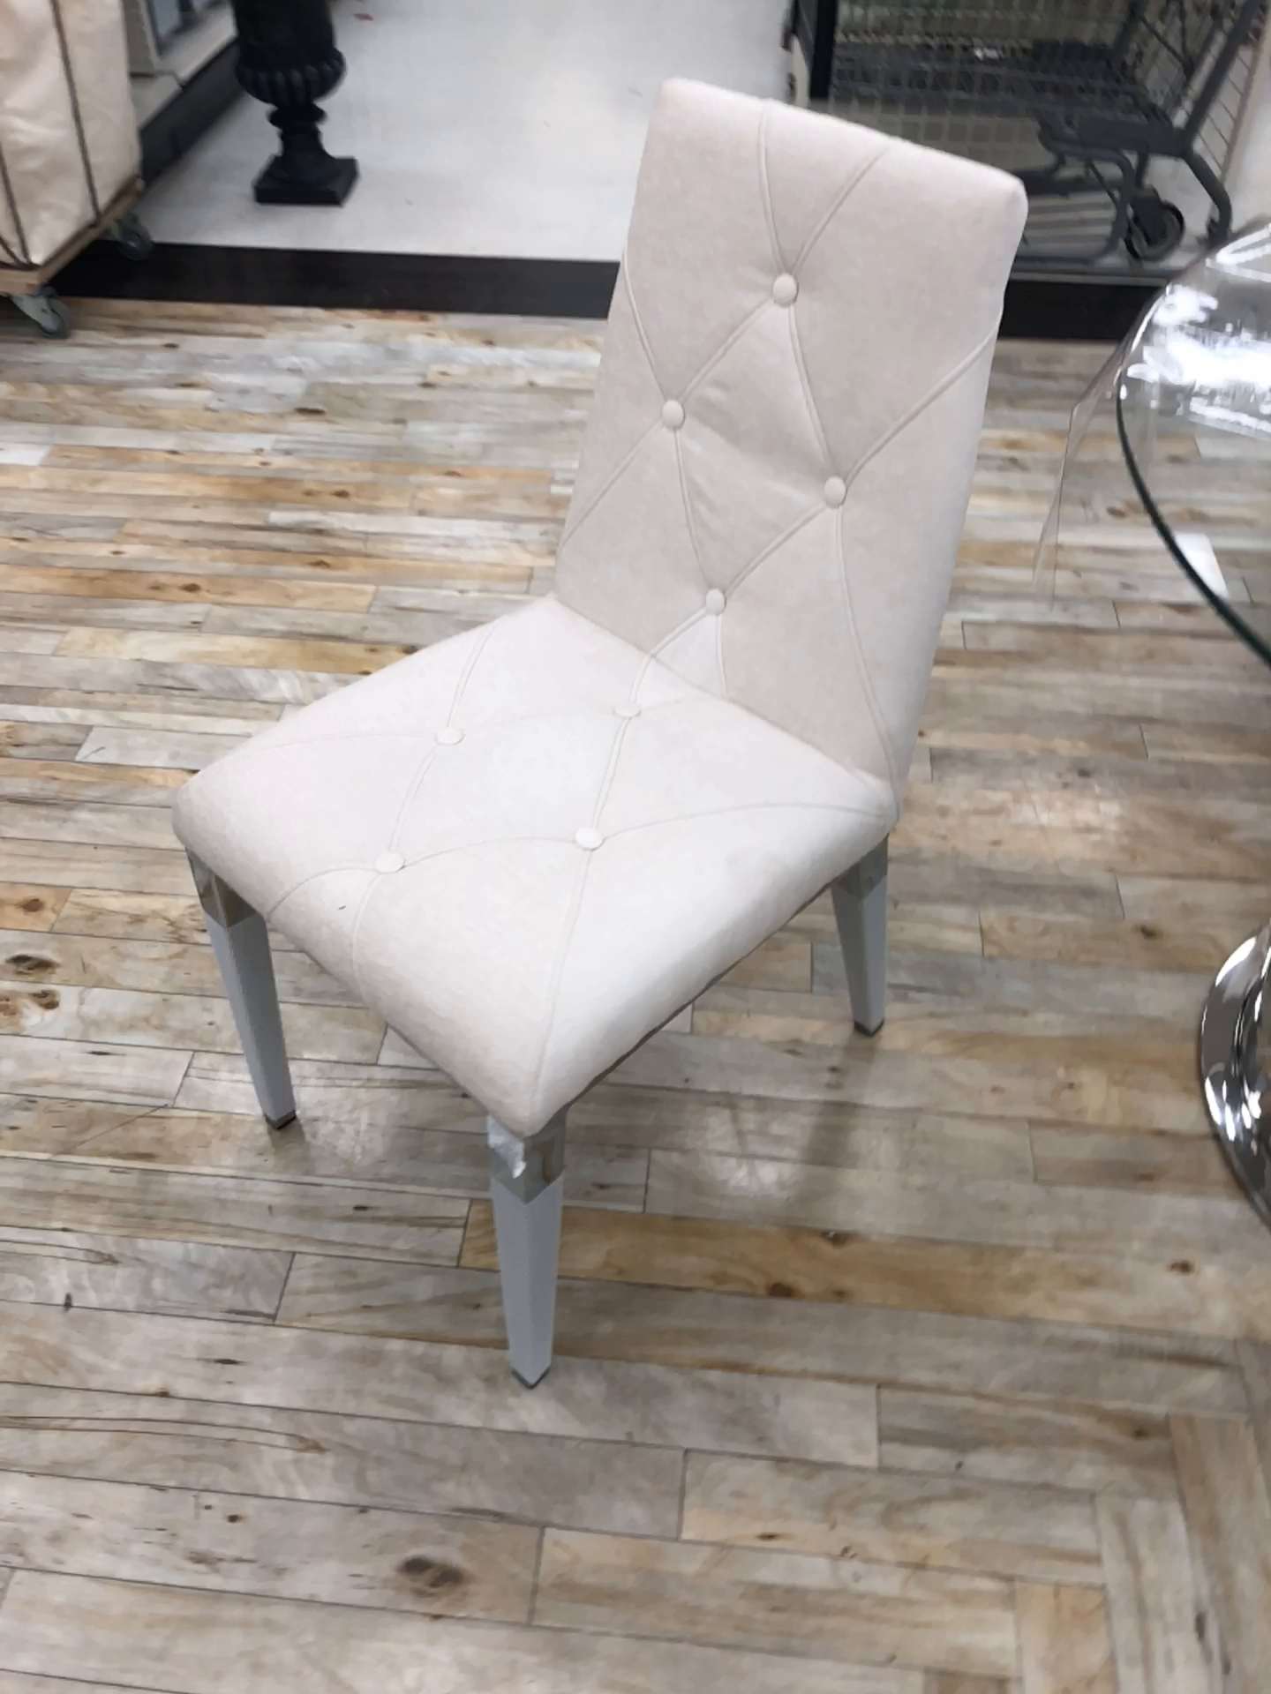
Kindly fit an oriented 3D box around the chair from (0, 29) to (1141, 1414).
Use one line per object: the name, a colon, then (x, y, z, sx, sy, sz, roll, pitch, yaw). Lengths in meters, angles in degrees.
chair: (-0.053, -0.083, 1.167, 0.571, 0.887, 0.471, -33, 53, -29)
